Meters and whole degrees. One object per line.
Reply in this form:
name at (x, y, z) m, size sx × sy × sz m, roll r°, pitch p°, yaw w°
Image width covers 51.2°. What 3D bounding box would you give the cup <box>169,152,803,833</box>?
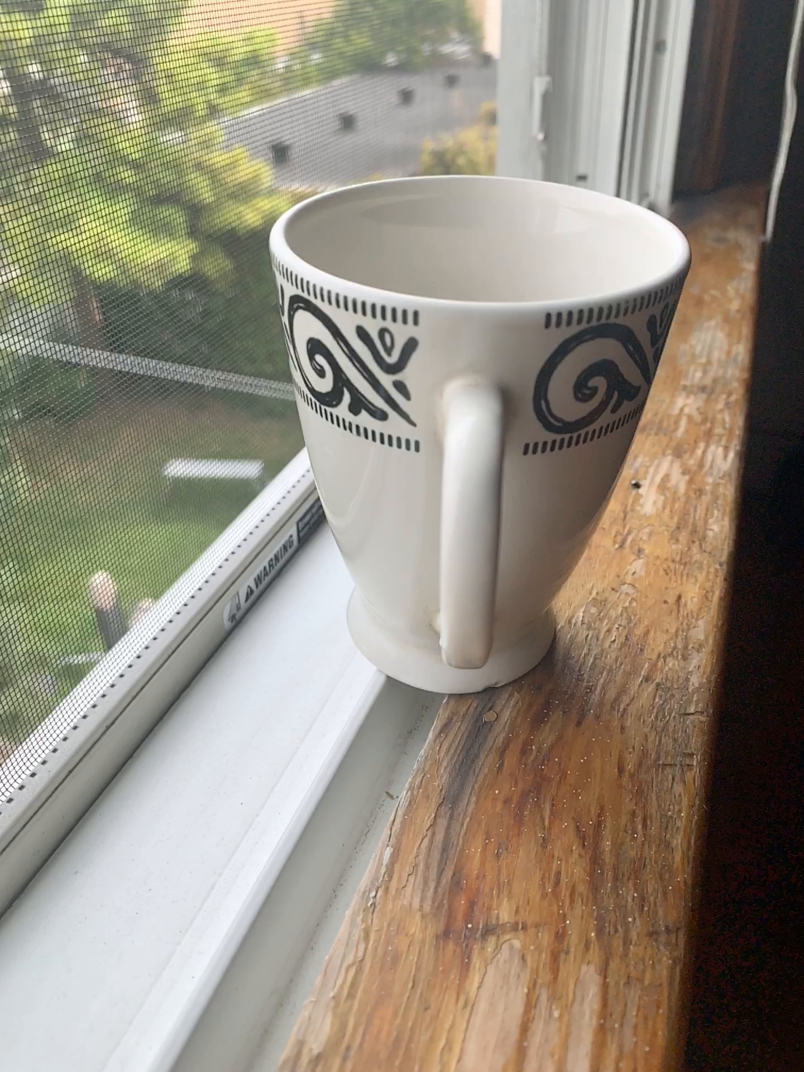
cup at (0.014, -0.022, 0.183) m, size 0.080 × 0.089 × 0.131 m, roll 3°, pitch 35°, yaw 2°
